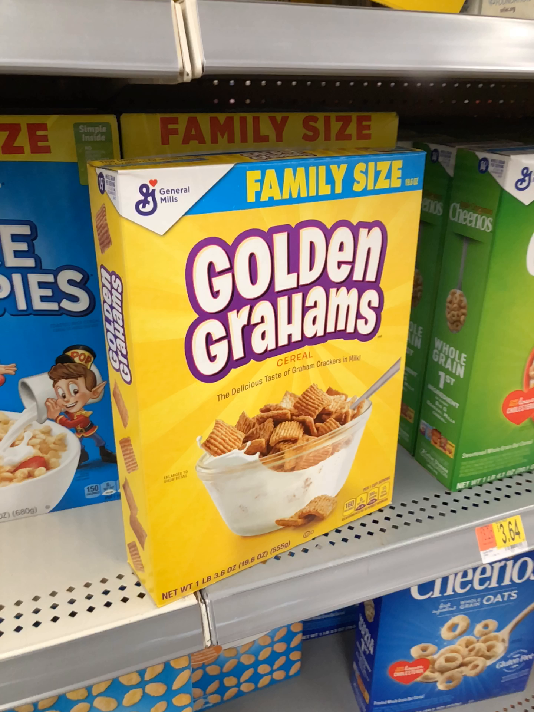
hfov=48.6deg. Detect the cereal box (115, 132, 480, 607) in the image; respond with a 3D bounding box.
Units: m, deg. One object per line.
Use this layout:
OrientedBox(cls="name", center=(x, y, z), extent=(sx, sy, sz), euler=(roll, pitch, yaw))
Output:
OrientedBox(cls="cereal box", center=(0.027, 0.001, 0.446), extent=(0.240, 0.309, 0.070), euler=(-14, 29, -30))
